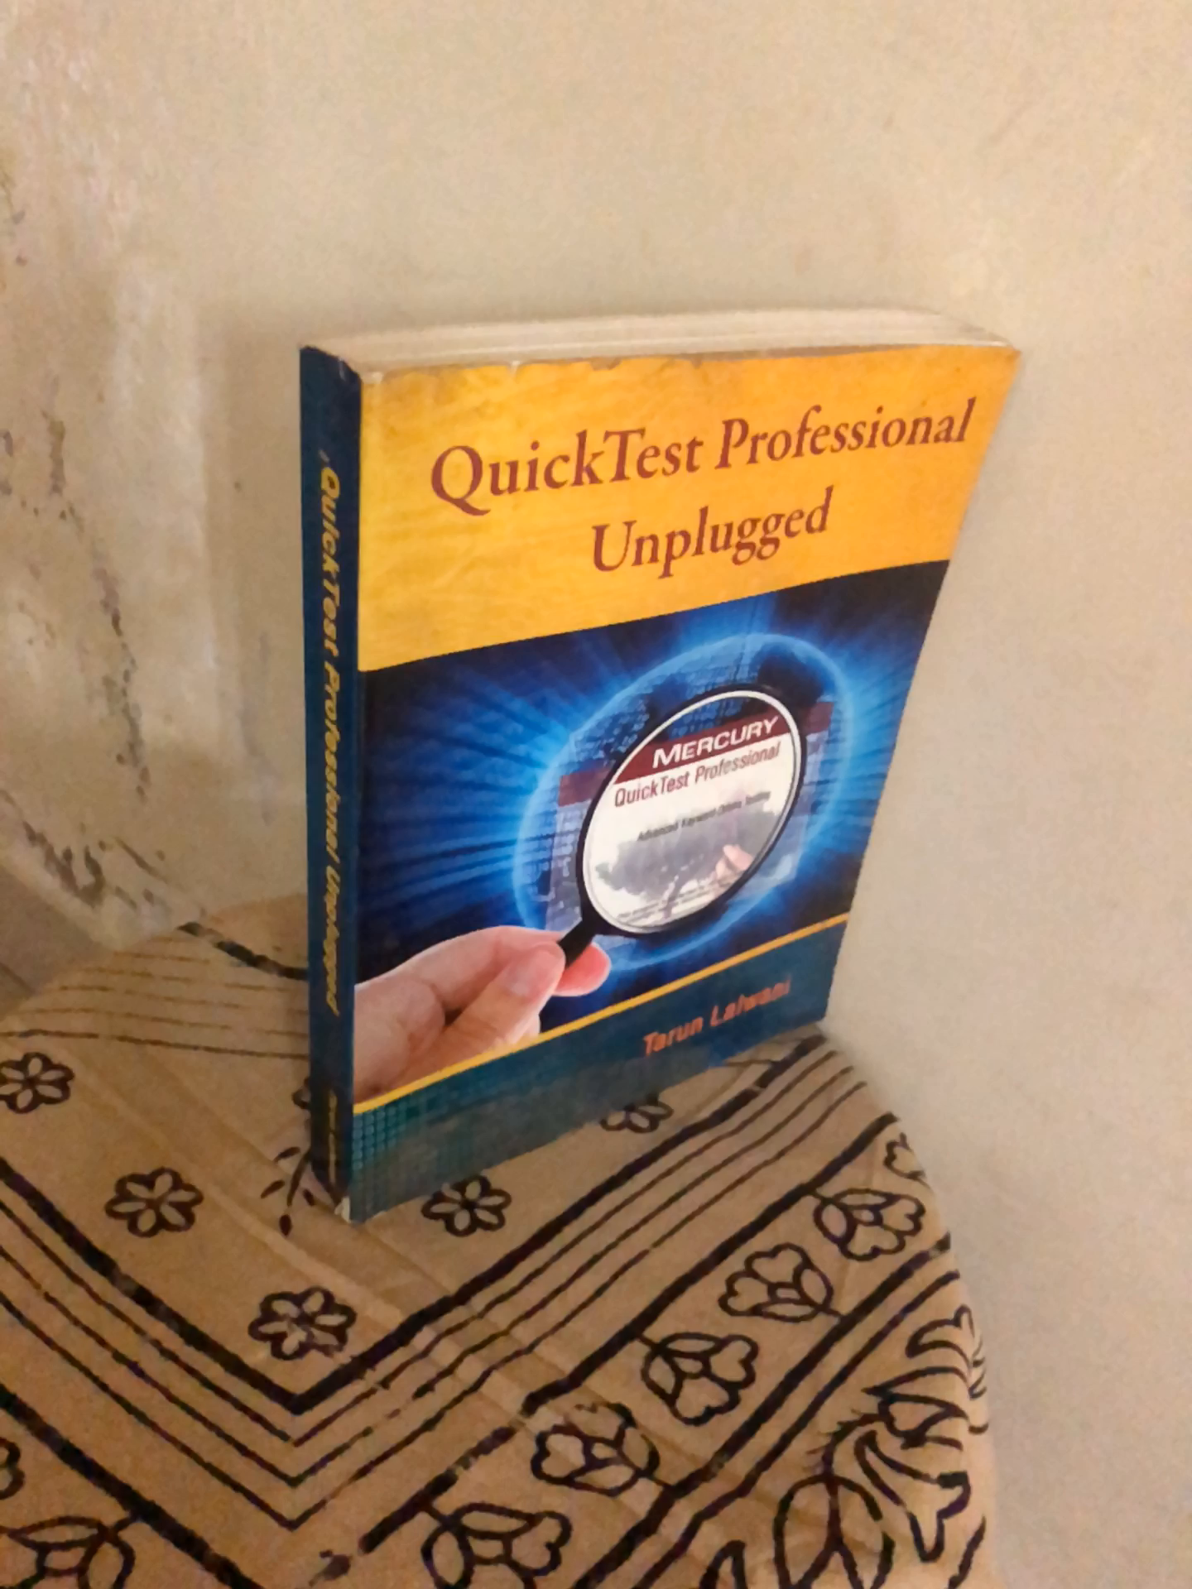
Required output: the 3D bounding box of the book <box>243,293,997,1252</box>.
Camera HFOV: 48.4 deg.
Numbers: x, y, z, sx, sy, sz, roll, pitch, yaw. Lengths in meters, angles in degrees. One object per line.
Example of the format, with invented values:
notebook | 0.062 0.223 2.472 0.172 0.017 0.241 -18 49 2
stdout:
book | 0.001 -0.008 0.414 0.210 0.269 0.050 -12 34 -33
